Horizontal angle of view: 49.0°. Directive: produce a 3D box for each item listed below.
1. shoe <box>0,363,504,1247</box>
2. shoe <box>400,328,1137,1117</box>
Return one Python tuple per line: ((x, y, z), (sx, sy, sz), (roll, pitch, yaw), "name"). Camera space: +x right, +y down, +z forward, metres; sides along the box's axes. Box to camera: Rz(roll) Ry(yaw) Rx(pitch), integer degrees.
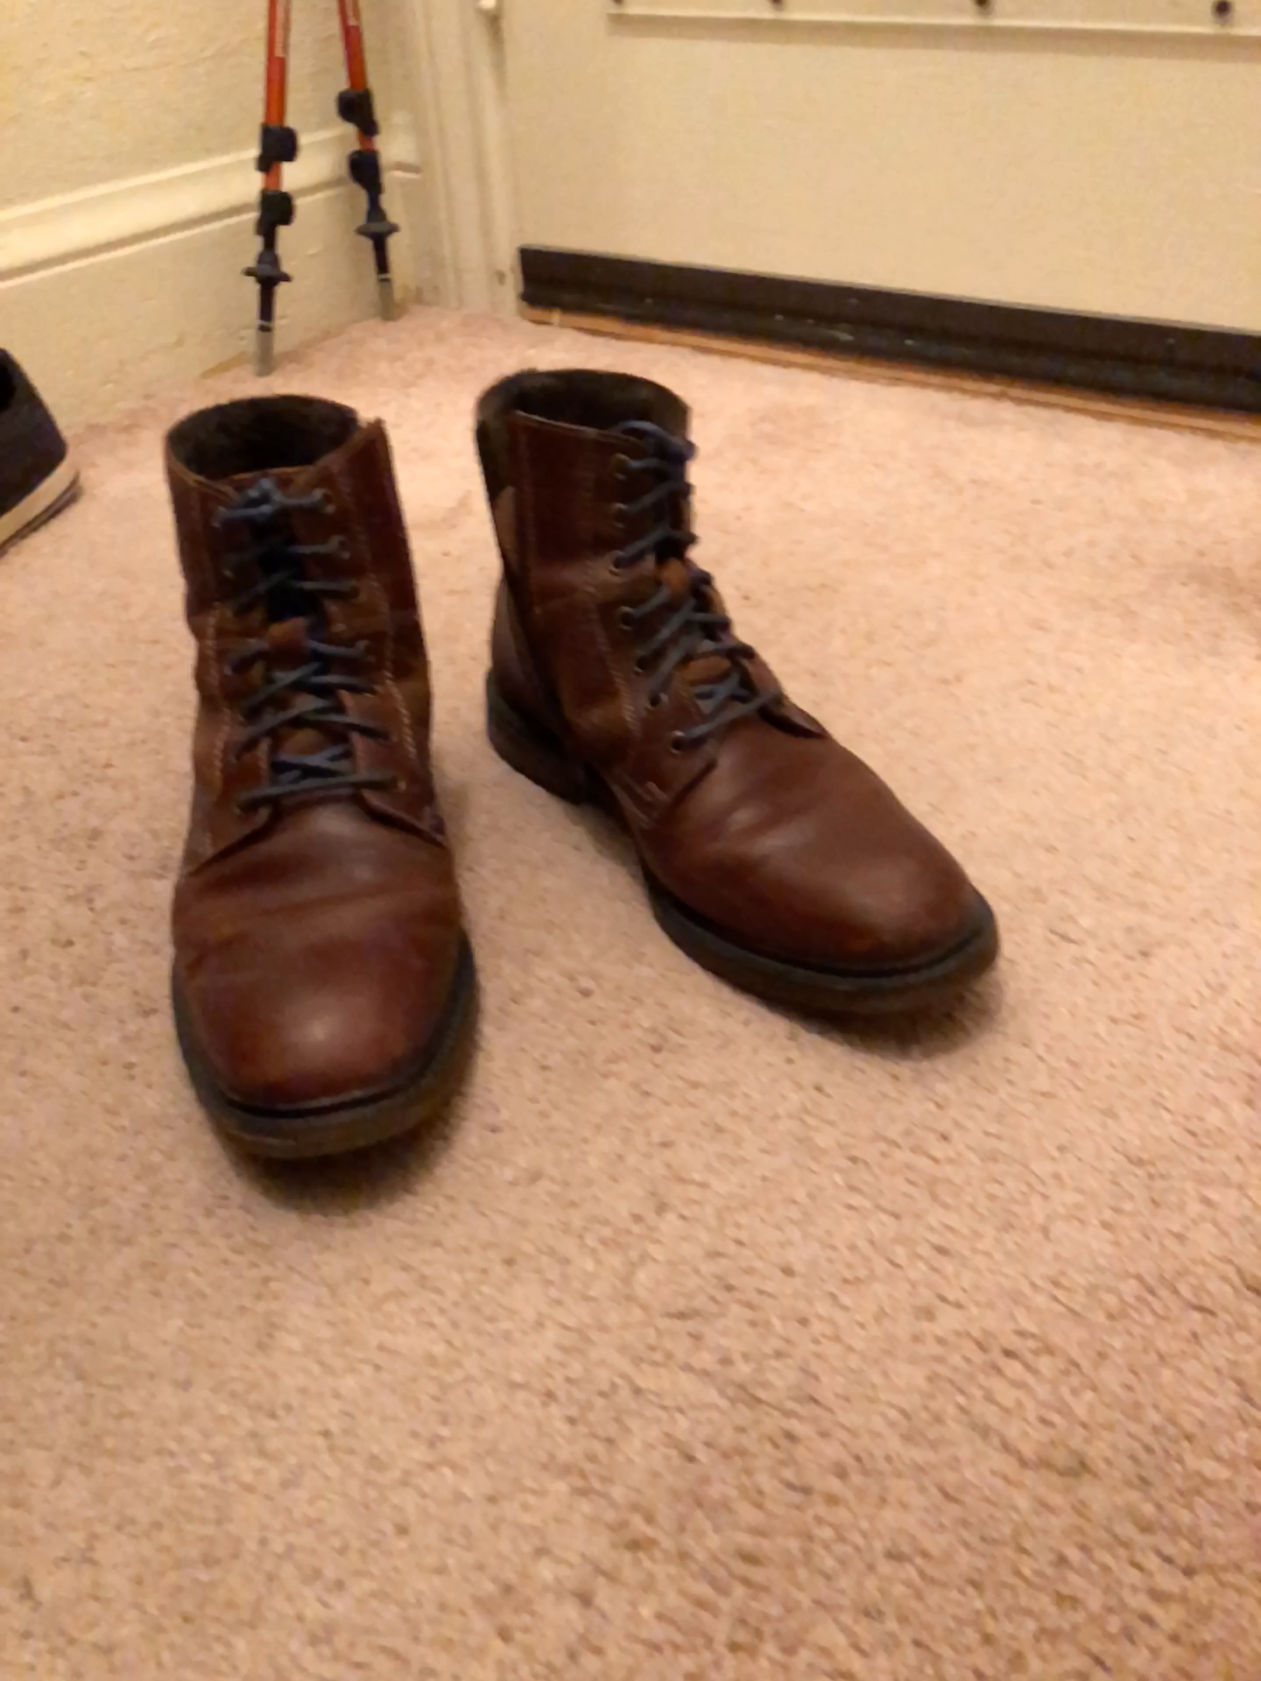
((-0.125, -0.039, 0.523), (0.113, 0.172, 0.317), (-7, 37, -5), "shoe")
((0.031, -0.069, 0.547), (0.110, 0.172, 0.302), (-21, 40, -22), "shoe")
